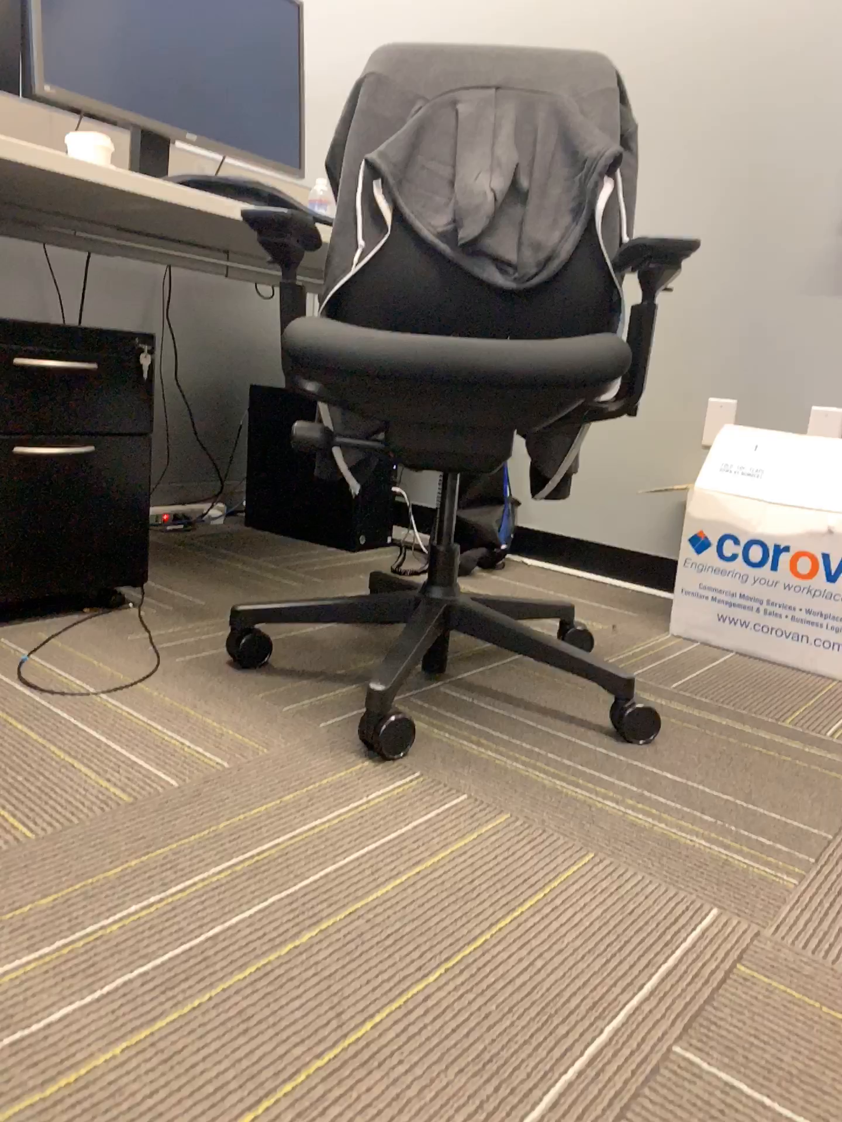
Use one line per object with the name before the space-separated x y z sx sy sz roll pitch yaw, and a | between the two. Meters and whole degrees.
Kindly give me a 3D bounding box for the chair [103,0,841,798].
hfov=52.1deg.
chair | 0.057 -0.367 1.401 0.750 1.077 0.883 6 12 4
